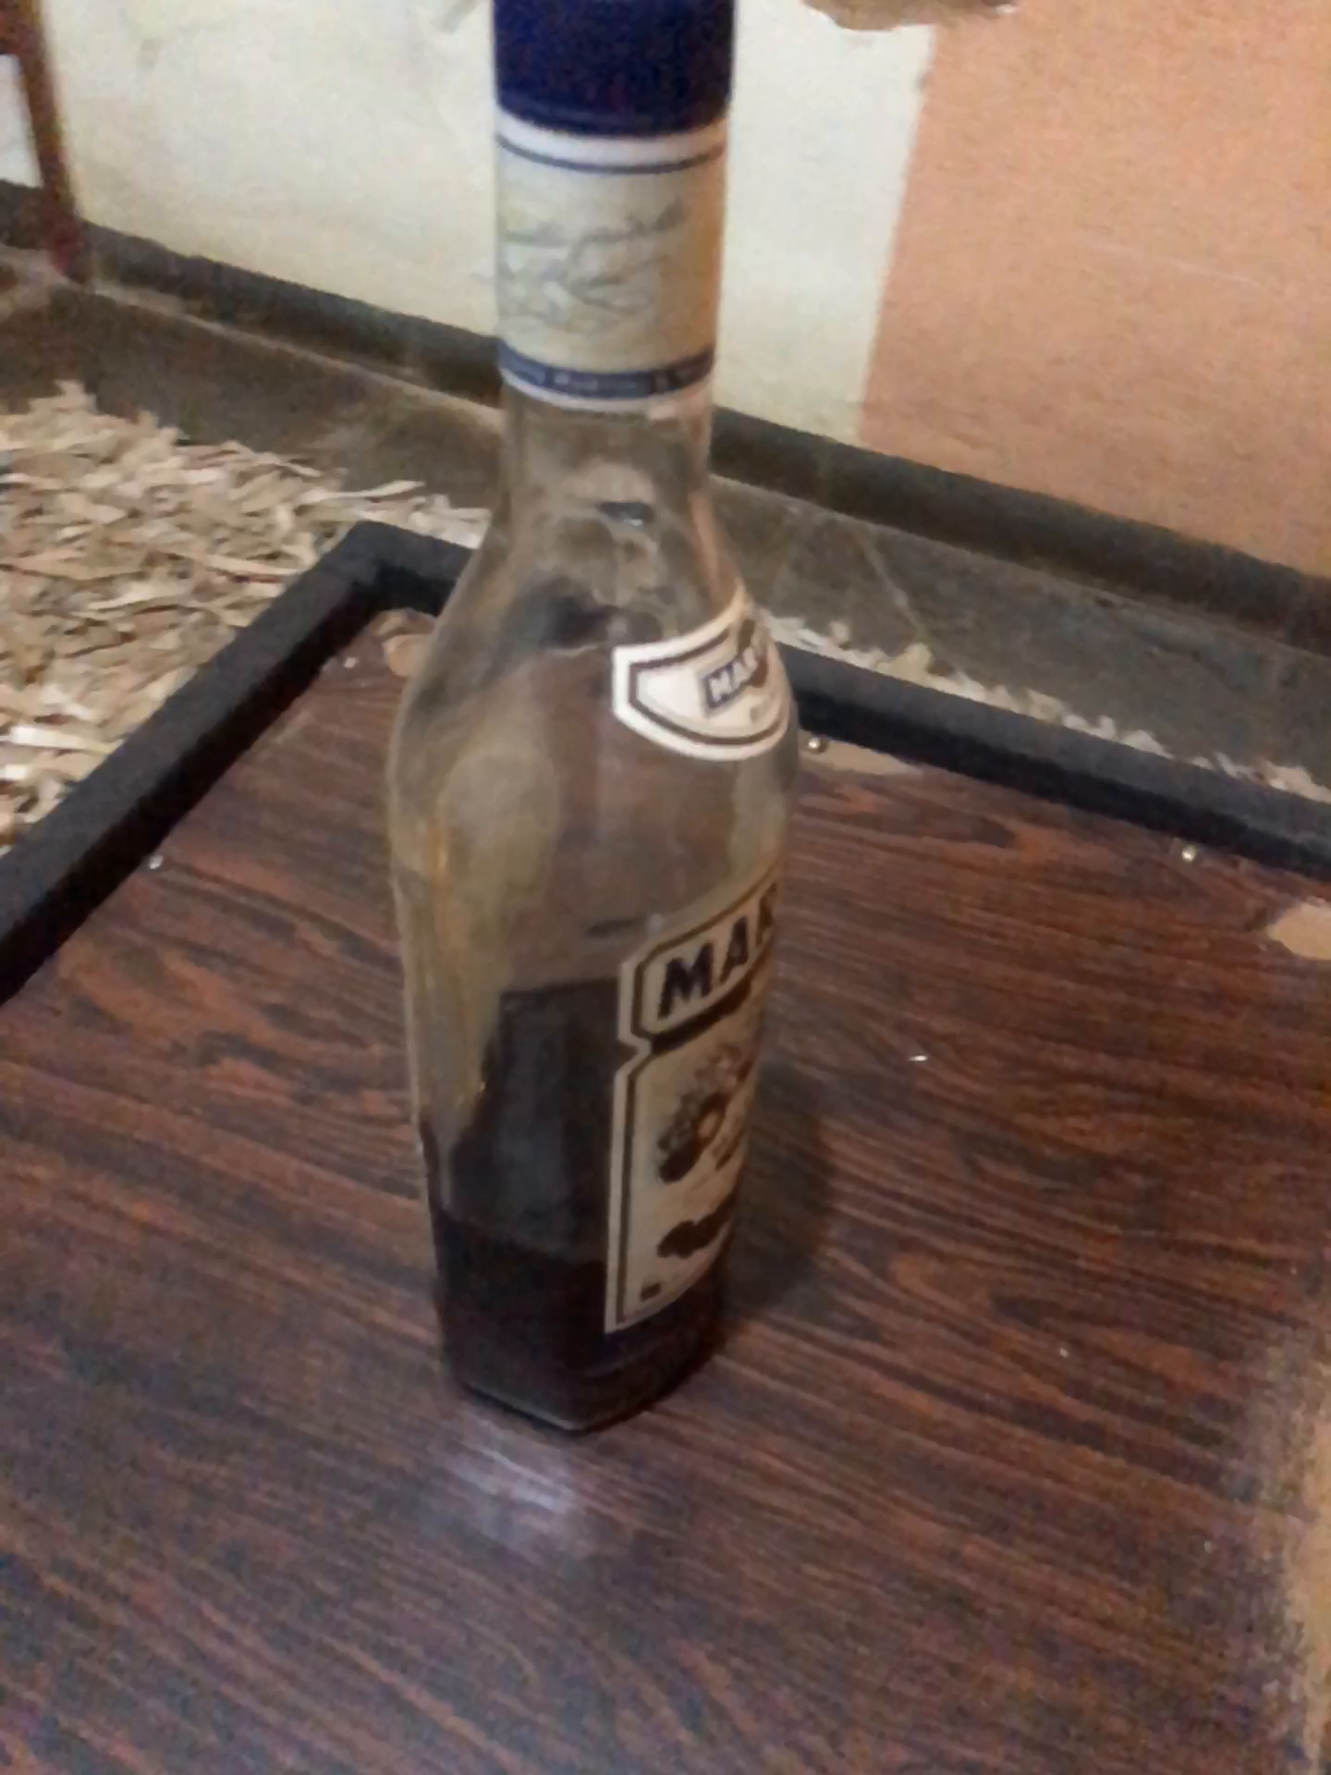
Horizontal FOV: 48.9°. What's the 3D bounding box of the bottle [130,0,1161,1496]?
[{"bbox_3d":[-0.008,-0.010,0.283,0.090,0.298,0.101,23,47,15],"label":"bottle"}]
